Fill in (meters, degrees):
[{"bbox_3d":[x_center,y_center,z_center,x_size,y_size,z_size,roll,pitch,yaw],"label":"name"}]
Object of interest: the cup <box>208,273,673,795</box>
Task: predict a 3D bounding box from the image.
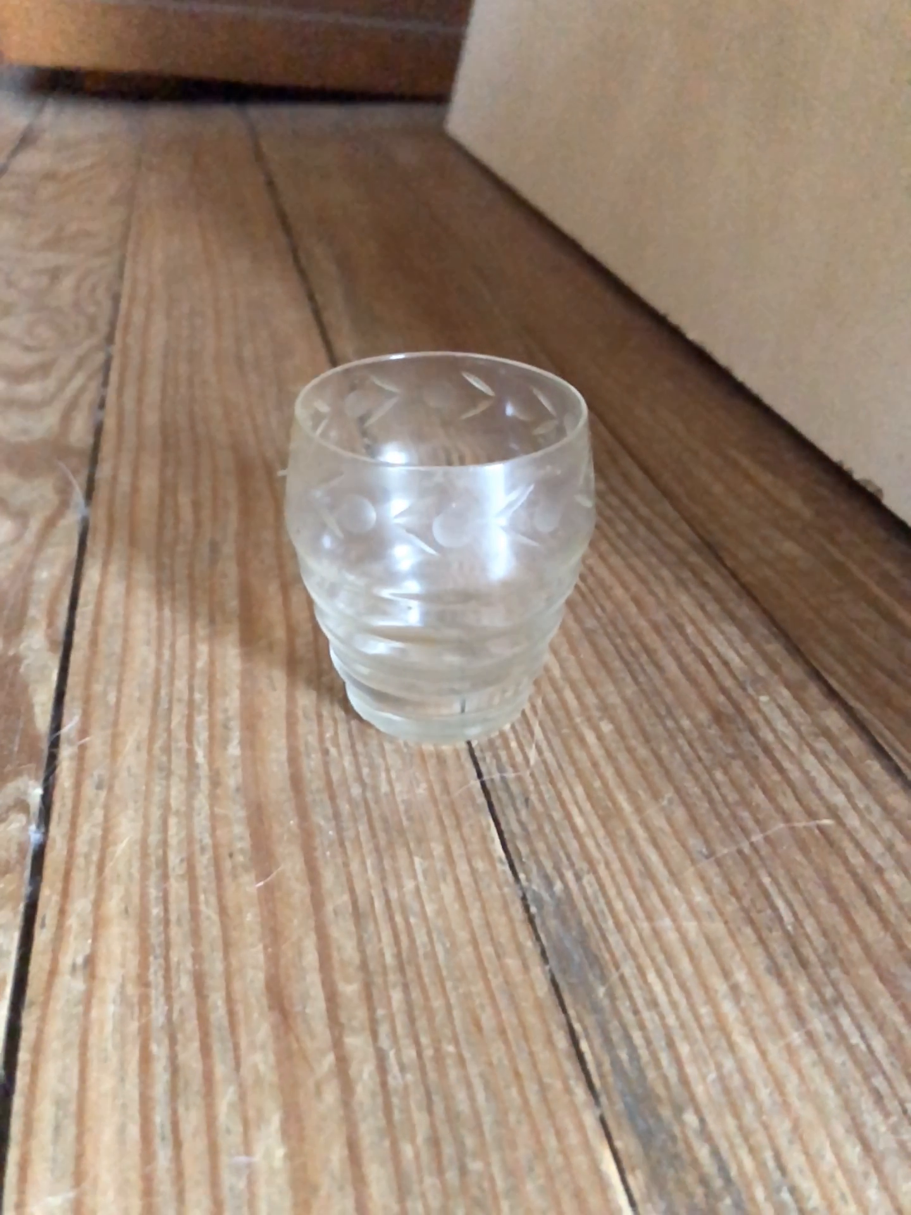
[{"bbox_3d":[-0.002,-0.015,0.172,0.050,0.060,0.050,0,34,0],"label":"cup"}]
